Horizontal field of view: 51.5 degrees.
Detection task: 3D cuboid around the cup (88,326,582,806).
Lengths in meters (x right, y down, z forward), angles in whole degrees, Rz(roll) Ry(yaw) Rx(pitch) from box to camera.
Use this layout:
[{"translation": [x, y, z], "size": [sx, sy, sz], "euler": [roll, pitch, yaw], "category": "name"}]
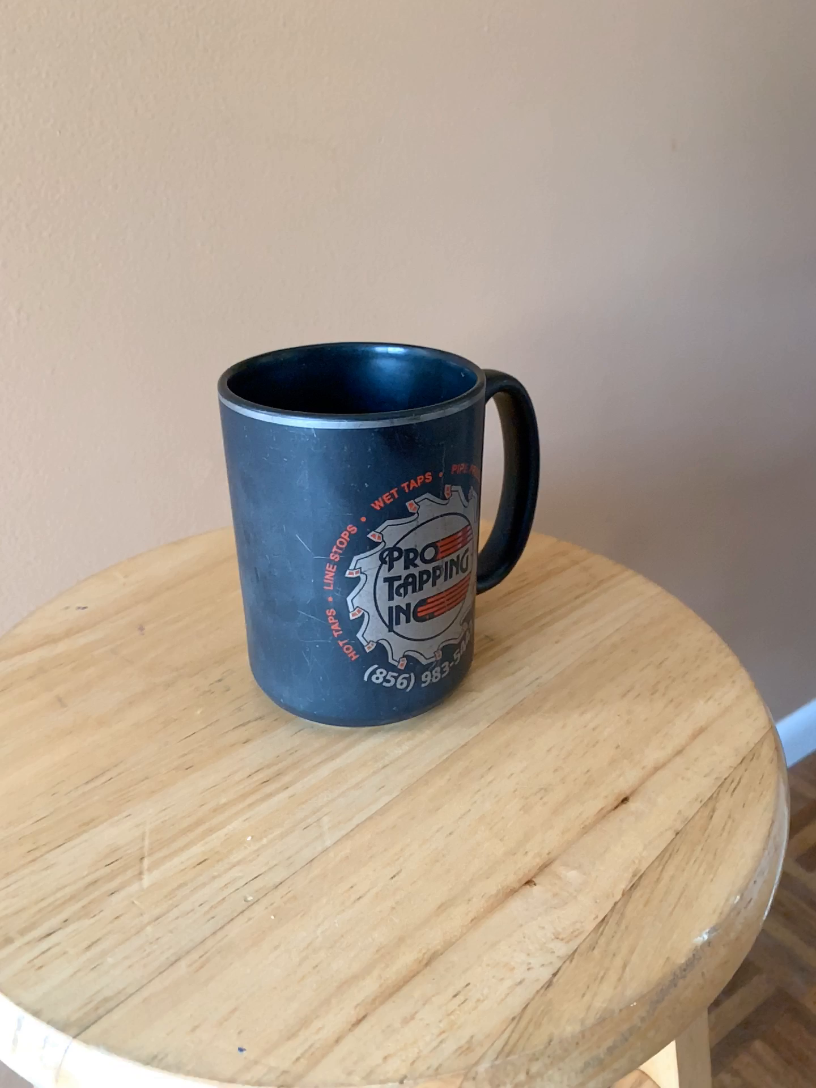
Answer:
[{"translation": [-0.025, -0.006, 0.332], "size": [0.140, 0.119, 0.110], "euler": [-22, 33, -36], "category": "cup"}]
